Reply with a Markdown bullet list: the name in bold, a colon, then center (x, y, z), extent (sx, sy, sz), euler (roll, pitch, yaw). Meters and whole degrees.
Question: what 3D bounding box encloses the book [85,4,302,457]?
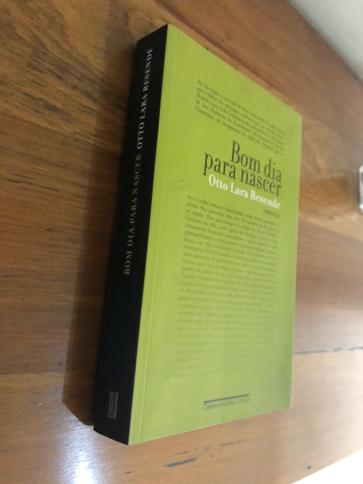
- **book**: center (0.021, -0.003, 0.241), extent (0.137, 0.030, 0.208), euler (12, 78, -43)
